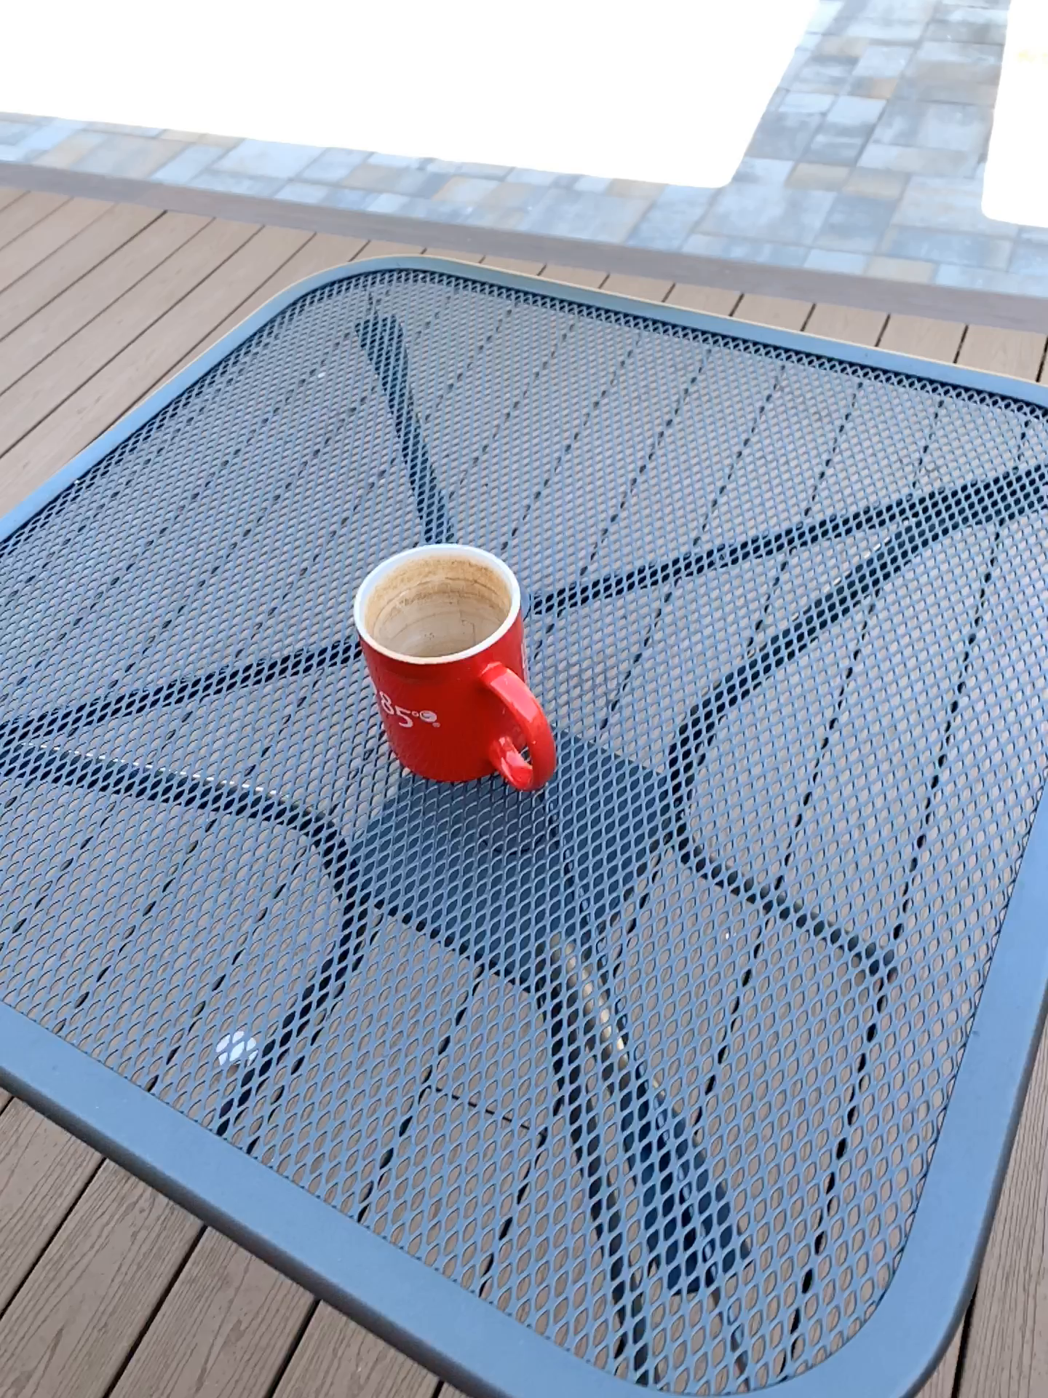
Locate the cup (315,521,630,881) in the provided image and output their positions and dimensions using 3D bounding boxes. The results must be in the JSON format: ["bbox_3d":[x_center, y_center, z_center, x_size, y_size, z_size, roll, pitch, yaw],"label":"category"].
[{"bbox_3d":[-0.024,-0.001,0.552,0.090,0.100,0.131,-34,55,-20],"label":"cup"}]
